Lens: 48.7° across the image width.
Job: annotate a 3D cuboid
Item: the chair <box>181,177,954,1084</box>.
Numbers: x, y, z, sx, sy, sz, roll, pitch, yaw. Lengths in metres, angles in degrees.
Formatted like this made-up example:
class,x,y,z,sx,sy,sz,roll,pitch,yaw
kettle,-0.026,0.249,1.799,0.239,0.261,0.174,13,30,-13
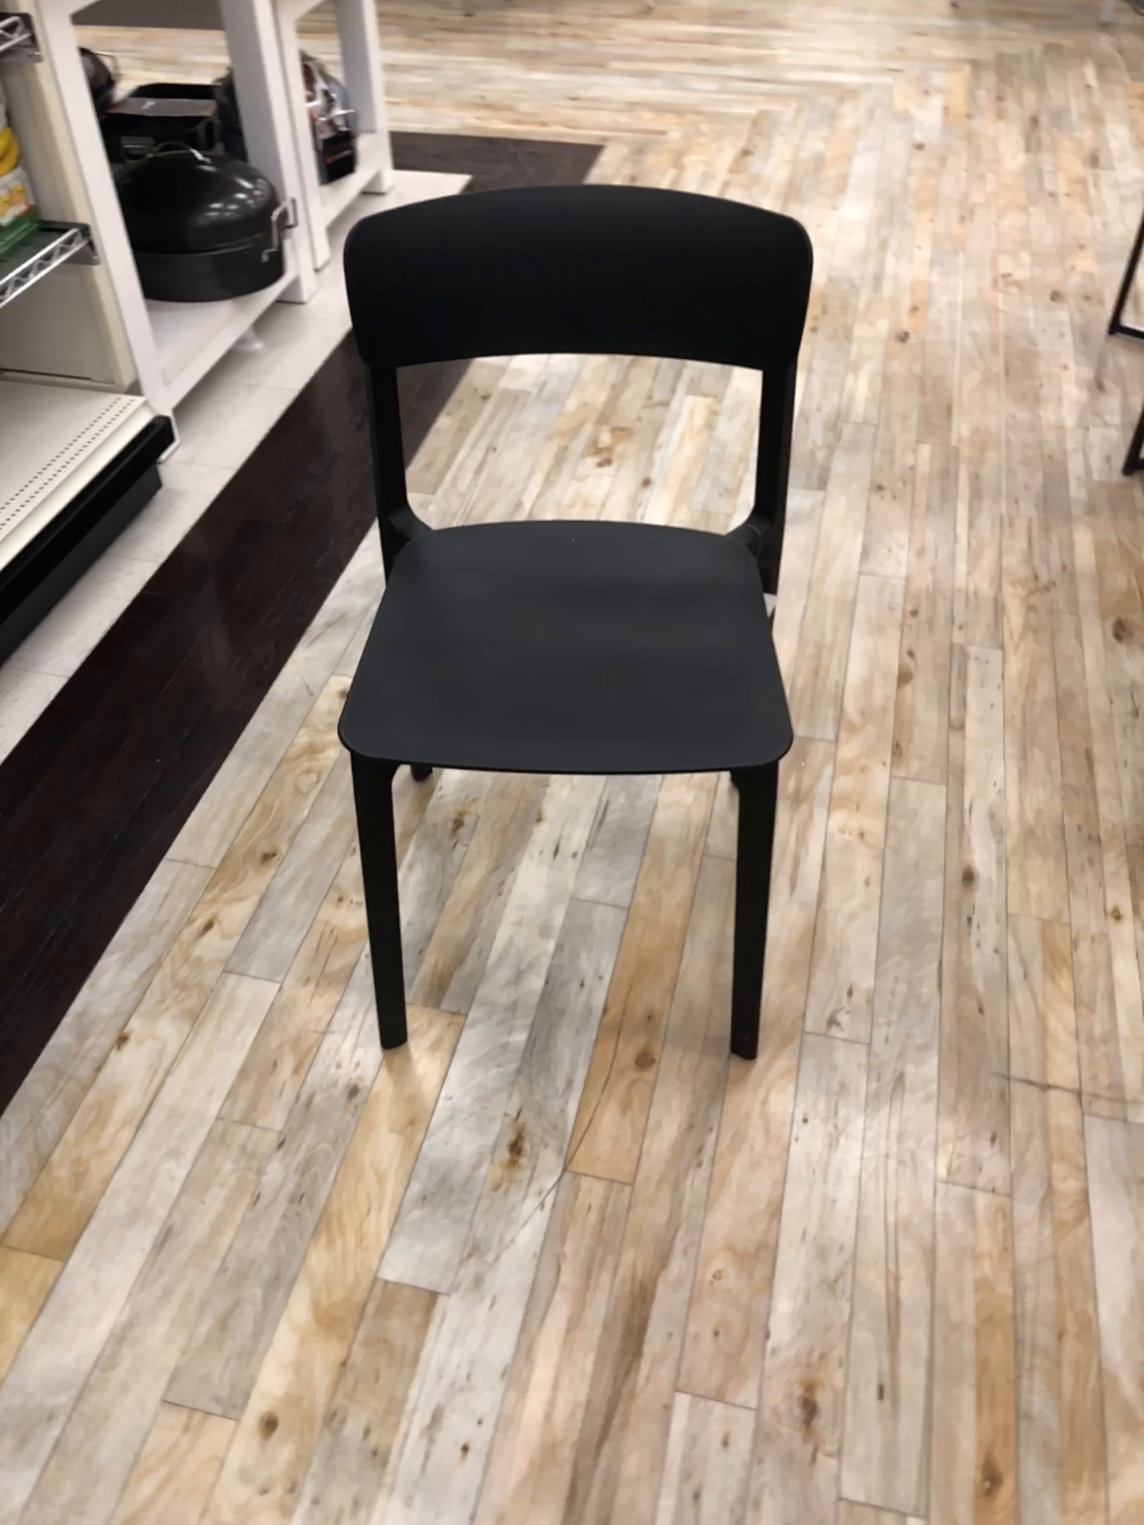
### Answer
class,x,y,z,sx,sy,sz,roll,pitch,yaw
chair,0.009,-0.117,1.257,0.500,0.707,0.542,1,44,2
